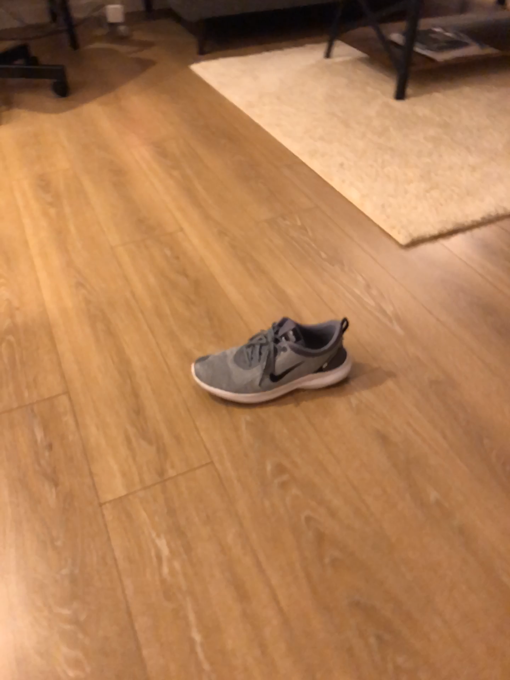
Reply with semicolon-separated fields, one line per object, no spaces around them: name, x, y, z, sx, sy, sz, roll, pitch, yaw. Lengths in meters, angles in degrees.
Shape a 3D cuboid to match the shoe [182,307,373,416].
shoe;0.036;0.035;1.049;0.320;0.080;0.141;-8;43;-8
